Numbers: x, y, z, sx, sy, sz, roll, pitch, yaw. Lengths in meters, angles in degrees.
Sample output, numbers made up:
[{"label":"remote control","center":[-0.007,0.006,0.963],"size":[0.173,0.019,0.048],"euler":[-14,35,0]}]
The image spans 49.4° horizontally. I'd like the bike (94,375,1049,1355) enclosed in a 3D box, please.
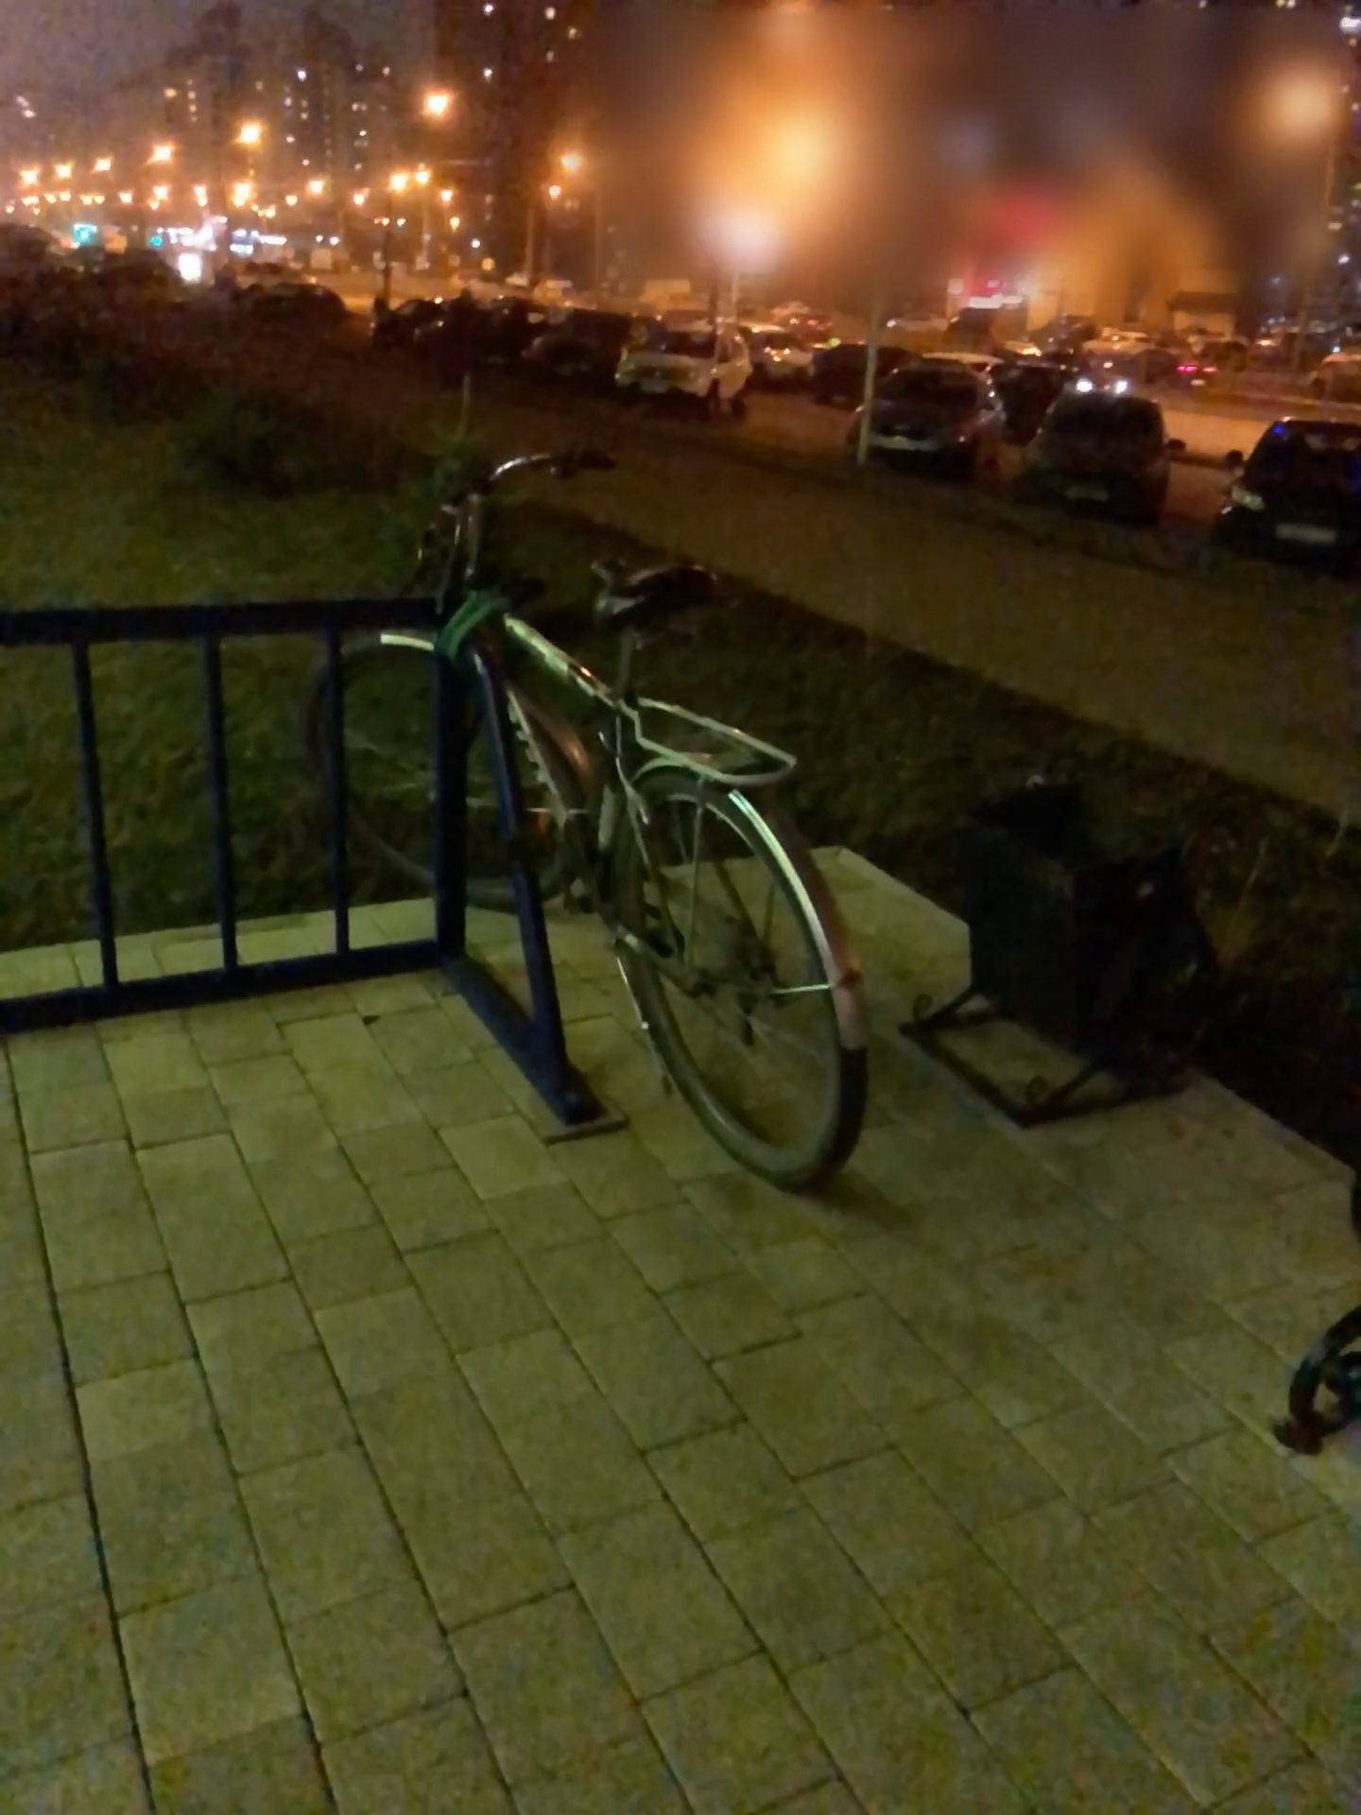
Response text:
[{"label":"bike","center":[-0.343,-0.257,2.627],"size":[0.680,1.046,1.723],"euler":[-13,31,-35]}]
